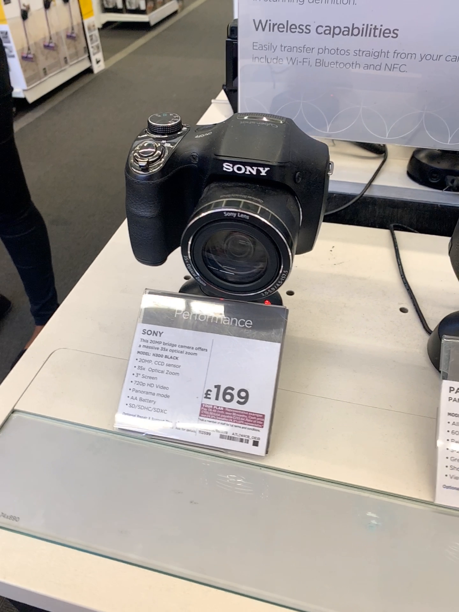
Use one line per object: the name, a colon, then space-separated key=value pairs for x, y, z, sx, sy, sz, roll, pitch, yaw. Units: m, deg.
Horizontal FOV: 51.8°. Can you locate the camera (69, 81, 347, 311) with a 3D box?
camera: x=-0.005 y=-0.070 z=0.285 sx=0.130 sy=0.089 sz=0.091 roll=9 pitch=43 yaw=11
